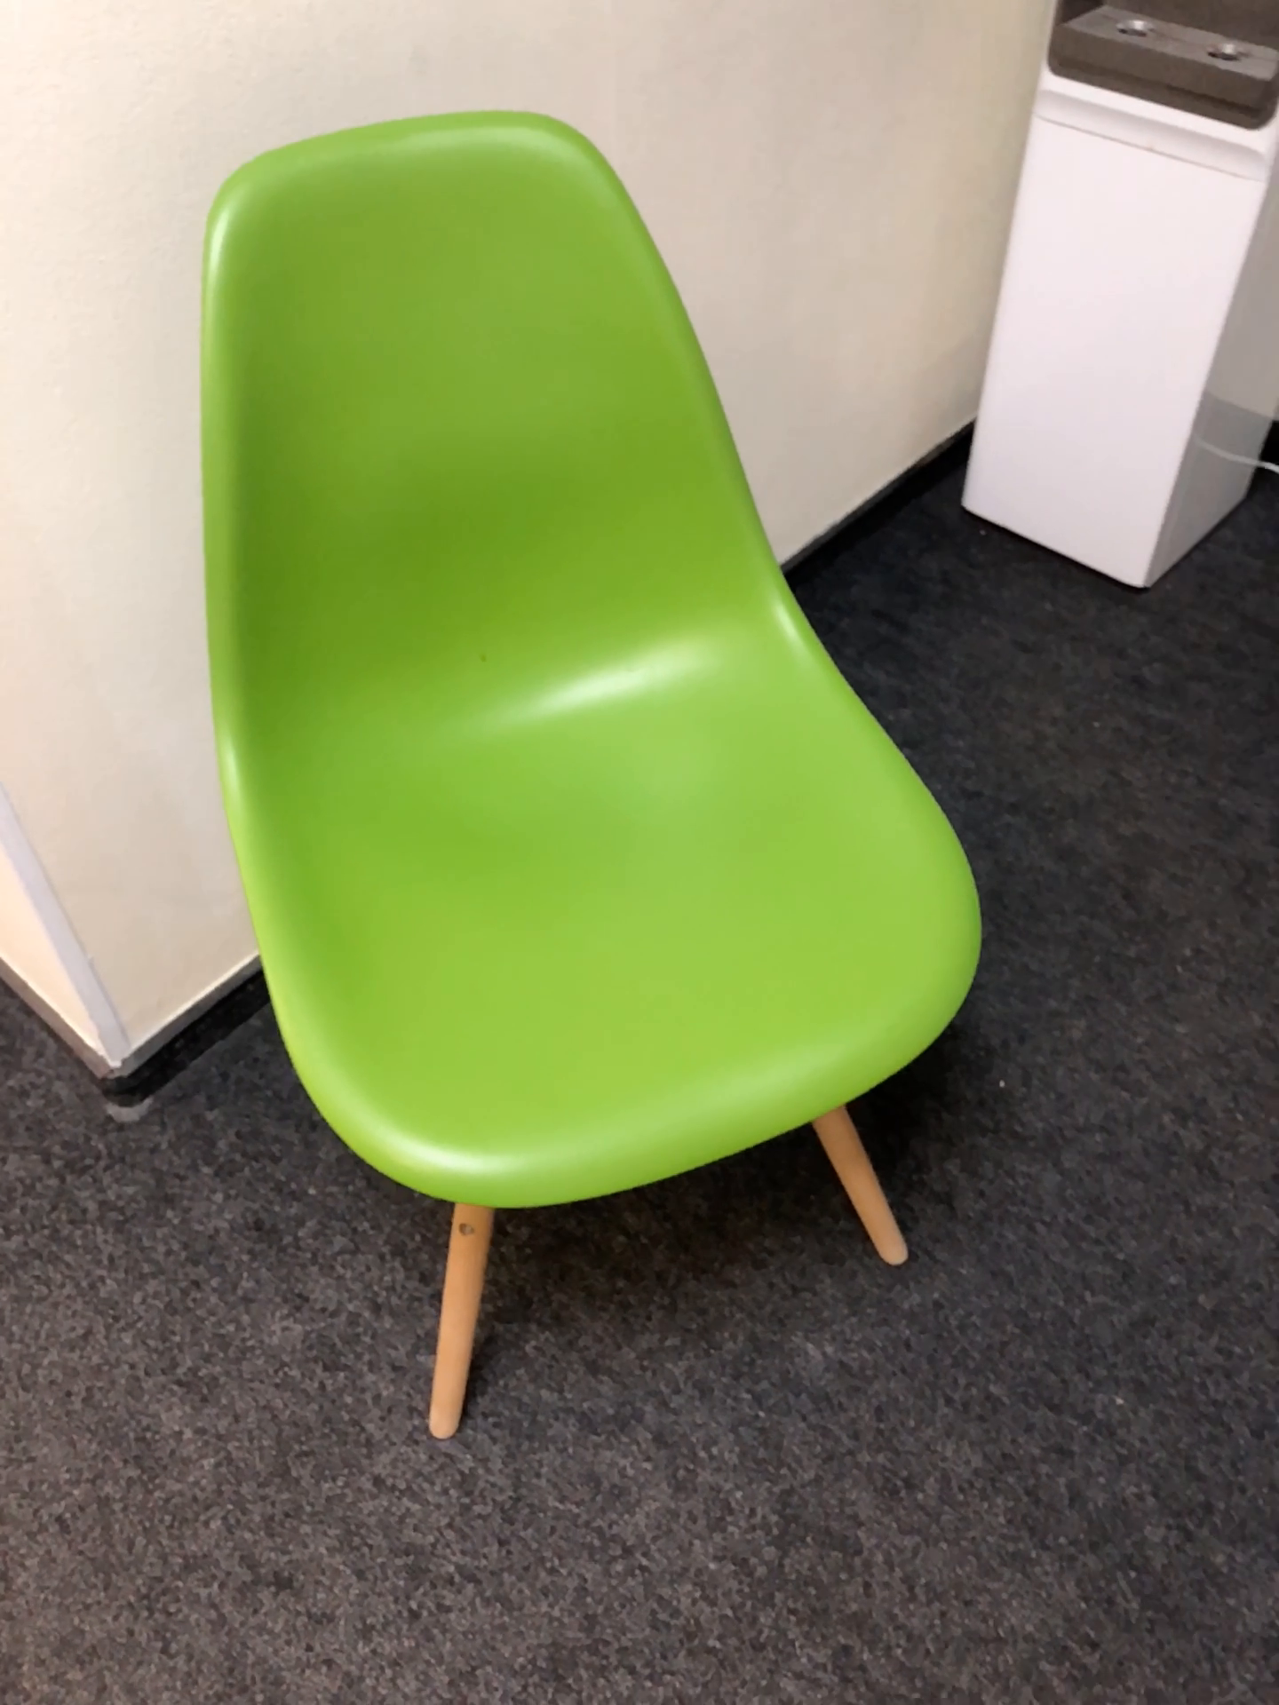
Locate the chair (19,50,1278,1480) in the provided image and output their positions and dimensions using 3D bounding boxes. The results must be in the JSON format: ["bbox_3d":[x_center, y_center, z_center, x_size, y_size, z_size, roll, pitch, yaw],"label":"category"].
[{"bbox_3d":[-0.048,-0.048,0.990,0.480,0.706,0.583,-16,50,-13],"label":"chair"}]
